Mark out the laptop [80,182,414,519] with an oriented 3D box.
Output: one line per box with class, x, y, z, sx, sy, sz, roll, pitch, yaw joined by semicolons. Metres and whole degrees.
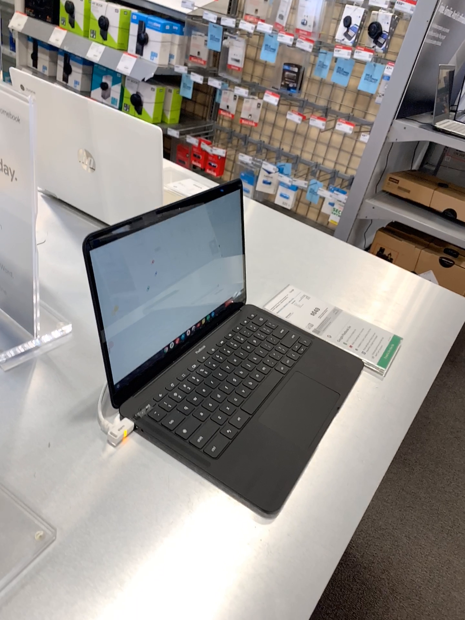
laptop;0.026;0.011;0.561;0.253;0.180;0.295;28;36;18
